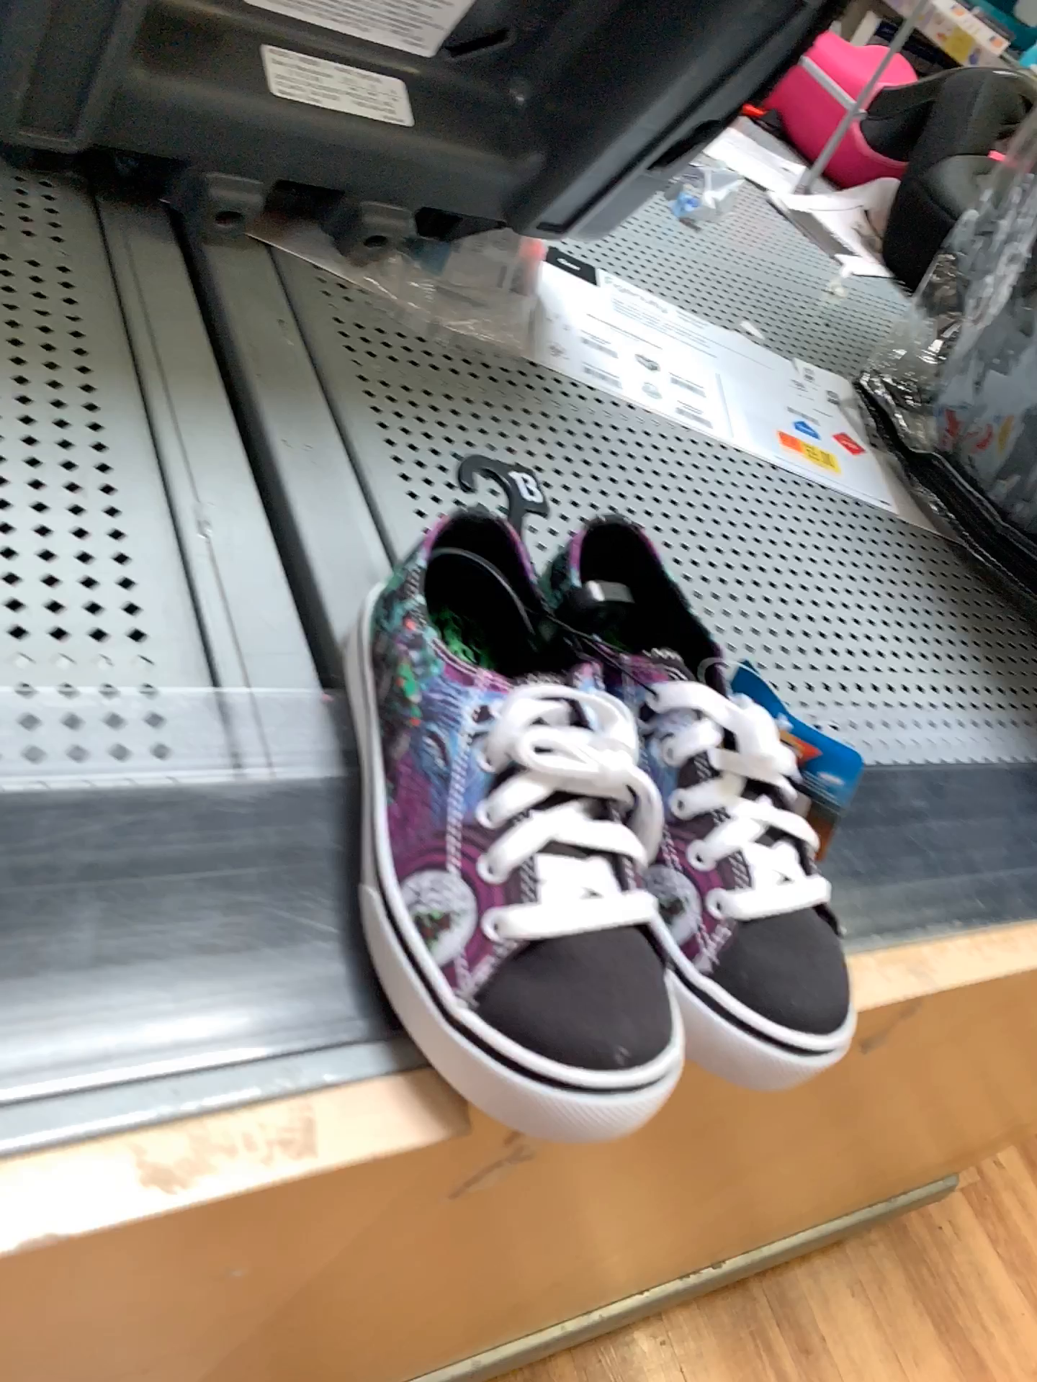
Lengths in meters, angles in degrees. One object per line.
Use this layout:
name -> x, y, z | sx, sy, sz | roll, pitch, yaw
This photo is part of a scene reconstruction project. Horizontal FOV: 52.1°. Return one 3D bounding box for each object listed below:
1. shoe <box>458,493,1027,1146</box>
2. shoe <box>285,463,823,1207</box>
shoe -> 0.066, 0.033, 0.381 | 0.089, 0.073, 0.213 | 0, 51, -34
shoe -> -0.005, 0.032, 0.331 | 0.091, 0.073, 0.208 | 5, 48, -29
